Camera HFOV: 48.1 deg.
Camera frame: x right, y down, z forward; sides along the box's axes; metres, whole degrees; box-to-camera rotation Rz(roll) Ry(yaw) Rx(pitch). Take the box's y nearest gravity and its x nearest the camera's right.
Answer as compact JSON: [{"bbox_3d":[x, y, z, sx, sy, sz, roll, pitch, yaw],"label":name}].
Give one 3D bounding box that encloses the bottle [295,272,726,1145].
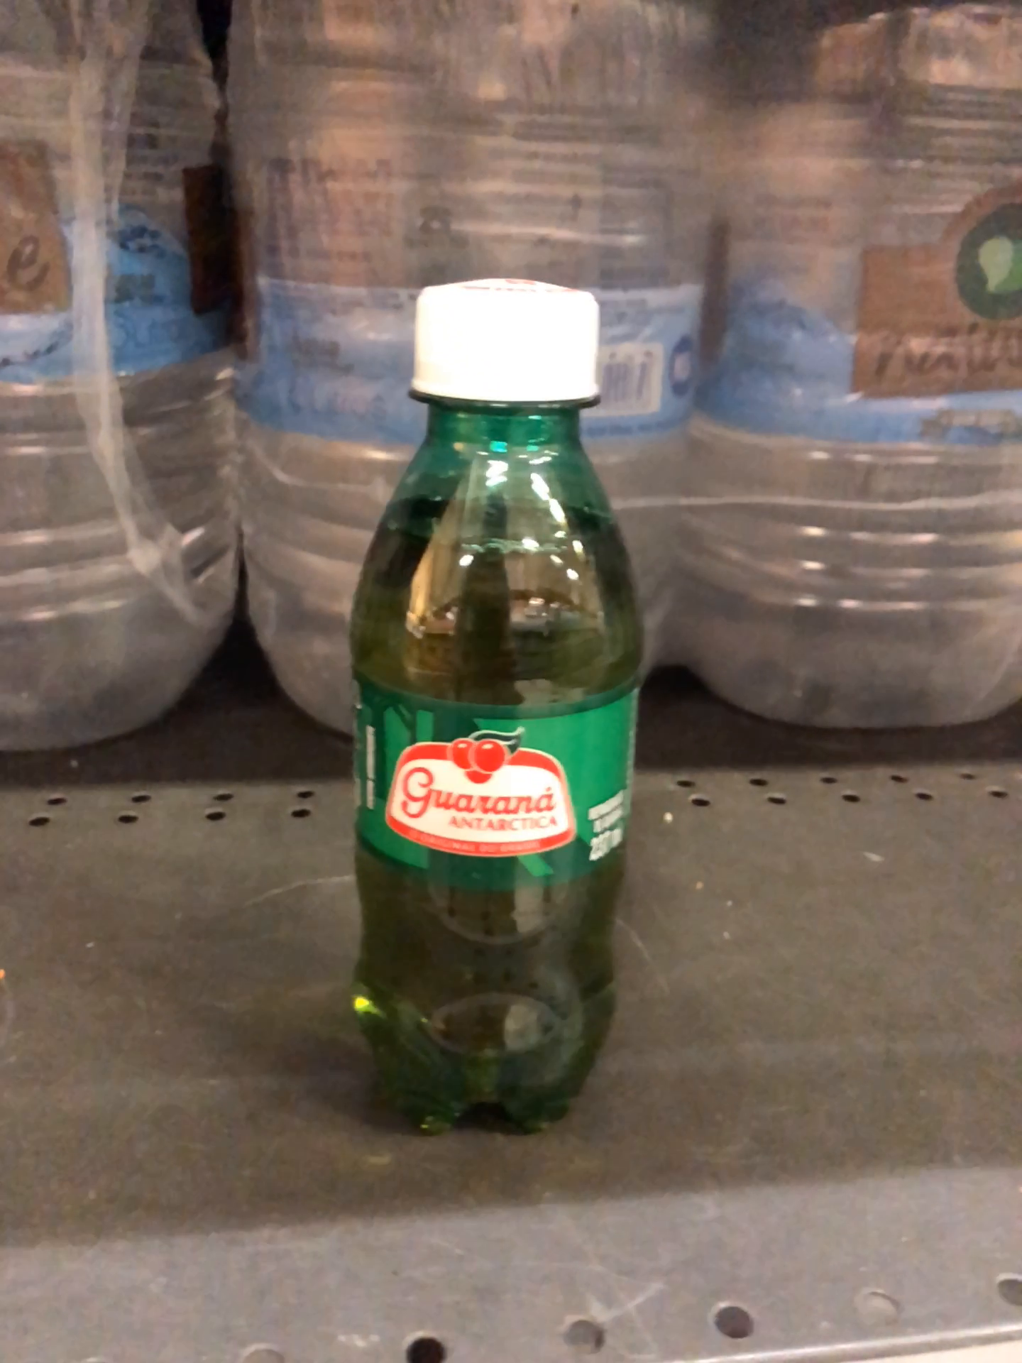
[{"bbox_3d":[-0.004,0.005,0.214,0.060,0.149,0.060,2,21,-1],"label":"bottle"}]
